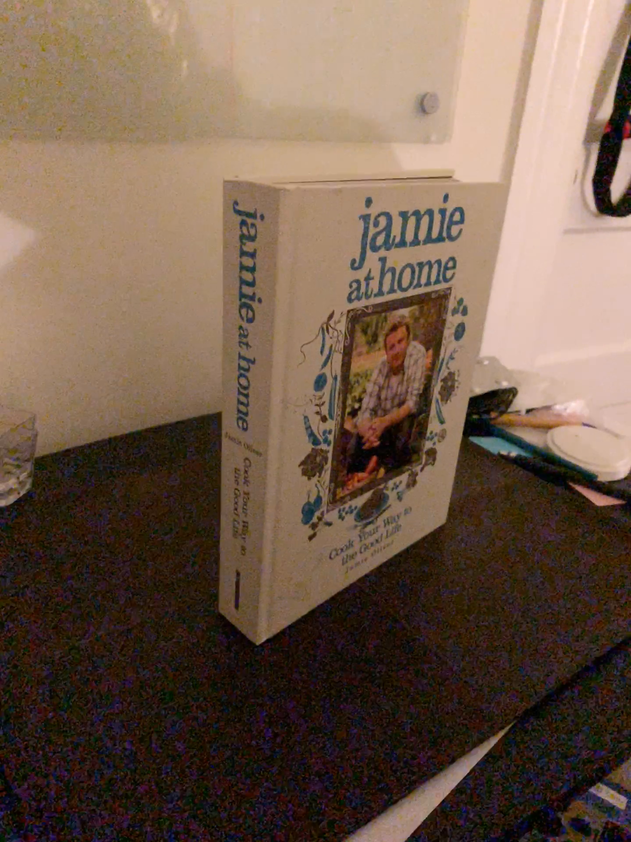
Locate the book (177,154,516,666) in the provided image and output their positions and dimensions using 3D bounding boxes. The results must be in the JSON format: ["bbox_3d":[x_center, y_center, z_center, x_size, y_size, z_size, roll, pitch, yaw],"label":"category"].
[{"bbox_3d":[0.021,-0.017,0.403,0.210,0.269,0.050,-20,35,-41],"label":"book"}]
